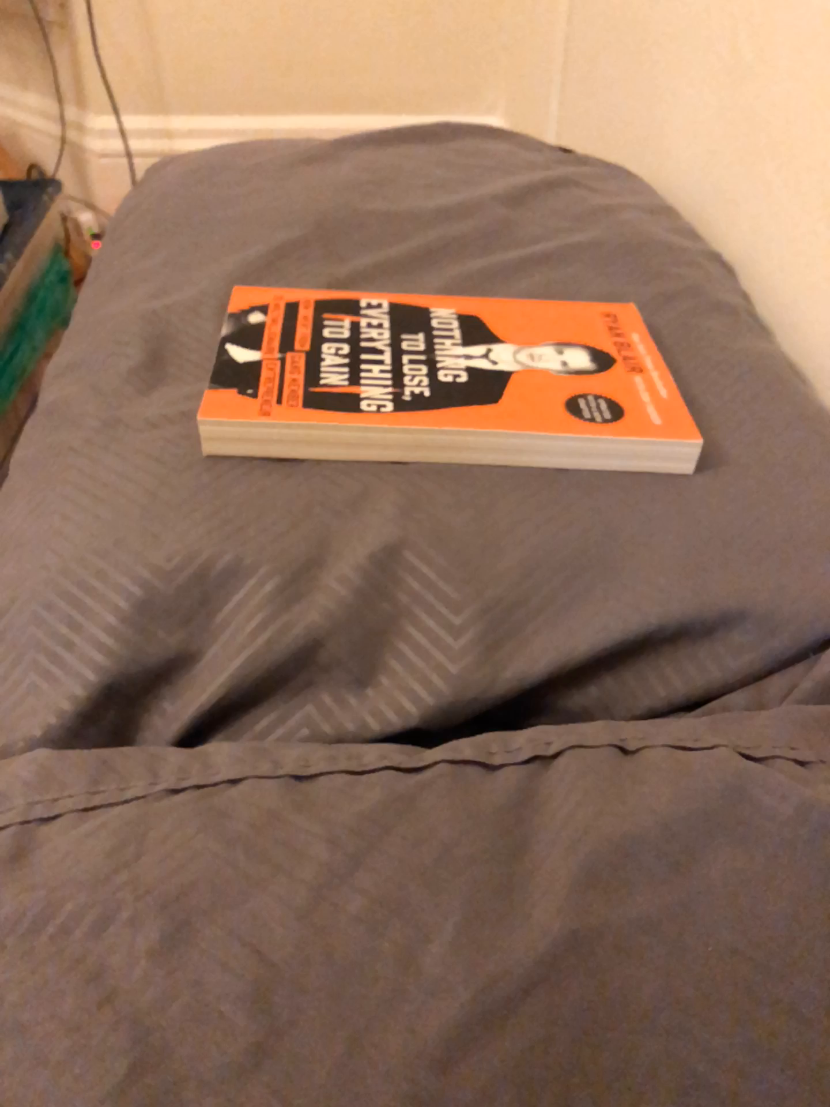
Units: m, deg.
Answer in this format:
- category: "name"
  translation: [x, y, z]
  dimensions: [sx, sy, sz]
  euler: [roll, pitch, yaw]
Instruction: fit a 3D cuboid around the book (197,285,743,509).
- category: "book"
  translation: [0.022, -0.081, 0.448]
  dimensions: [0.230, 0.020, 0.151]
  euler: [1, 43, -4]
